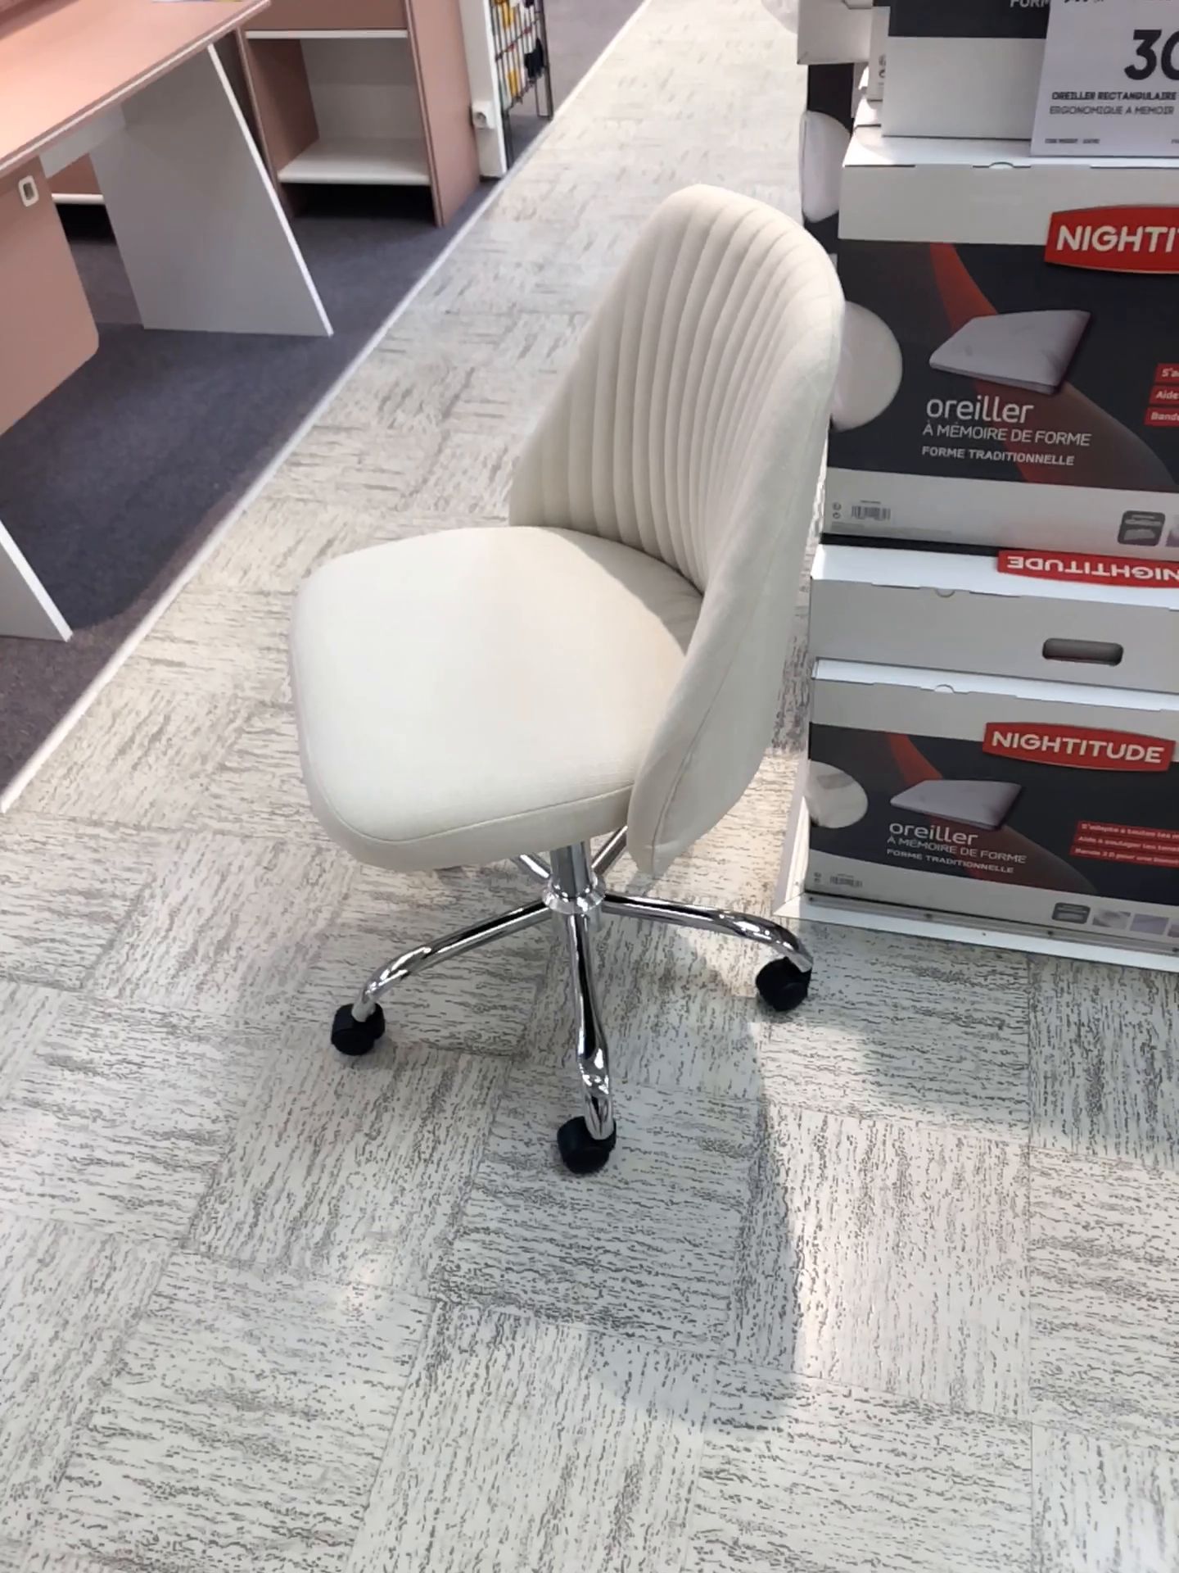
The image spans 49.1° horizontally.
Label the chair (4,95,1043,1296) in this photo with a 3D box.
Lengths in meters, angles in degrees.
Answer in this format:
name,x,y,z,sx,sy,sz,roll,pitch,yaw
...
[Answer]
name,x,y,z,sx,sy,sz,roll,pitch,yaw
chair,-0.096,-0.110,1.274,0.631,0.786,0.703,-17,44,-12
